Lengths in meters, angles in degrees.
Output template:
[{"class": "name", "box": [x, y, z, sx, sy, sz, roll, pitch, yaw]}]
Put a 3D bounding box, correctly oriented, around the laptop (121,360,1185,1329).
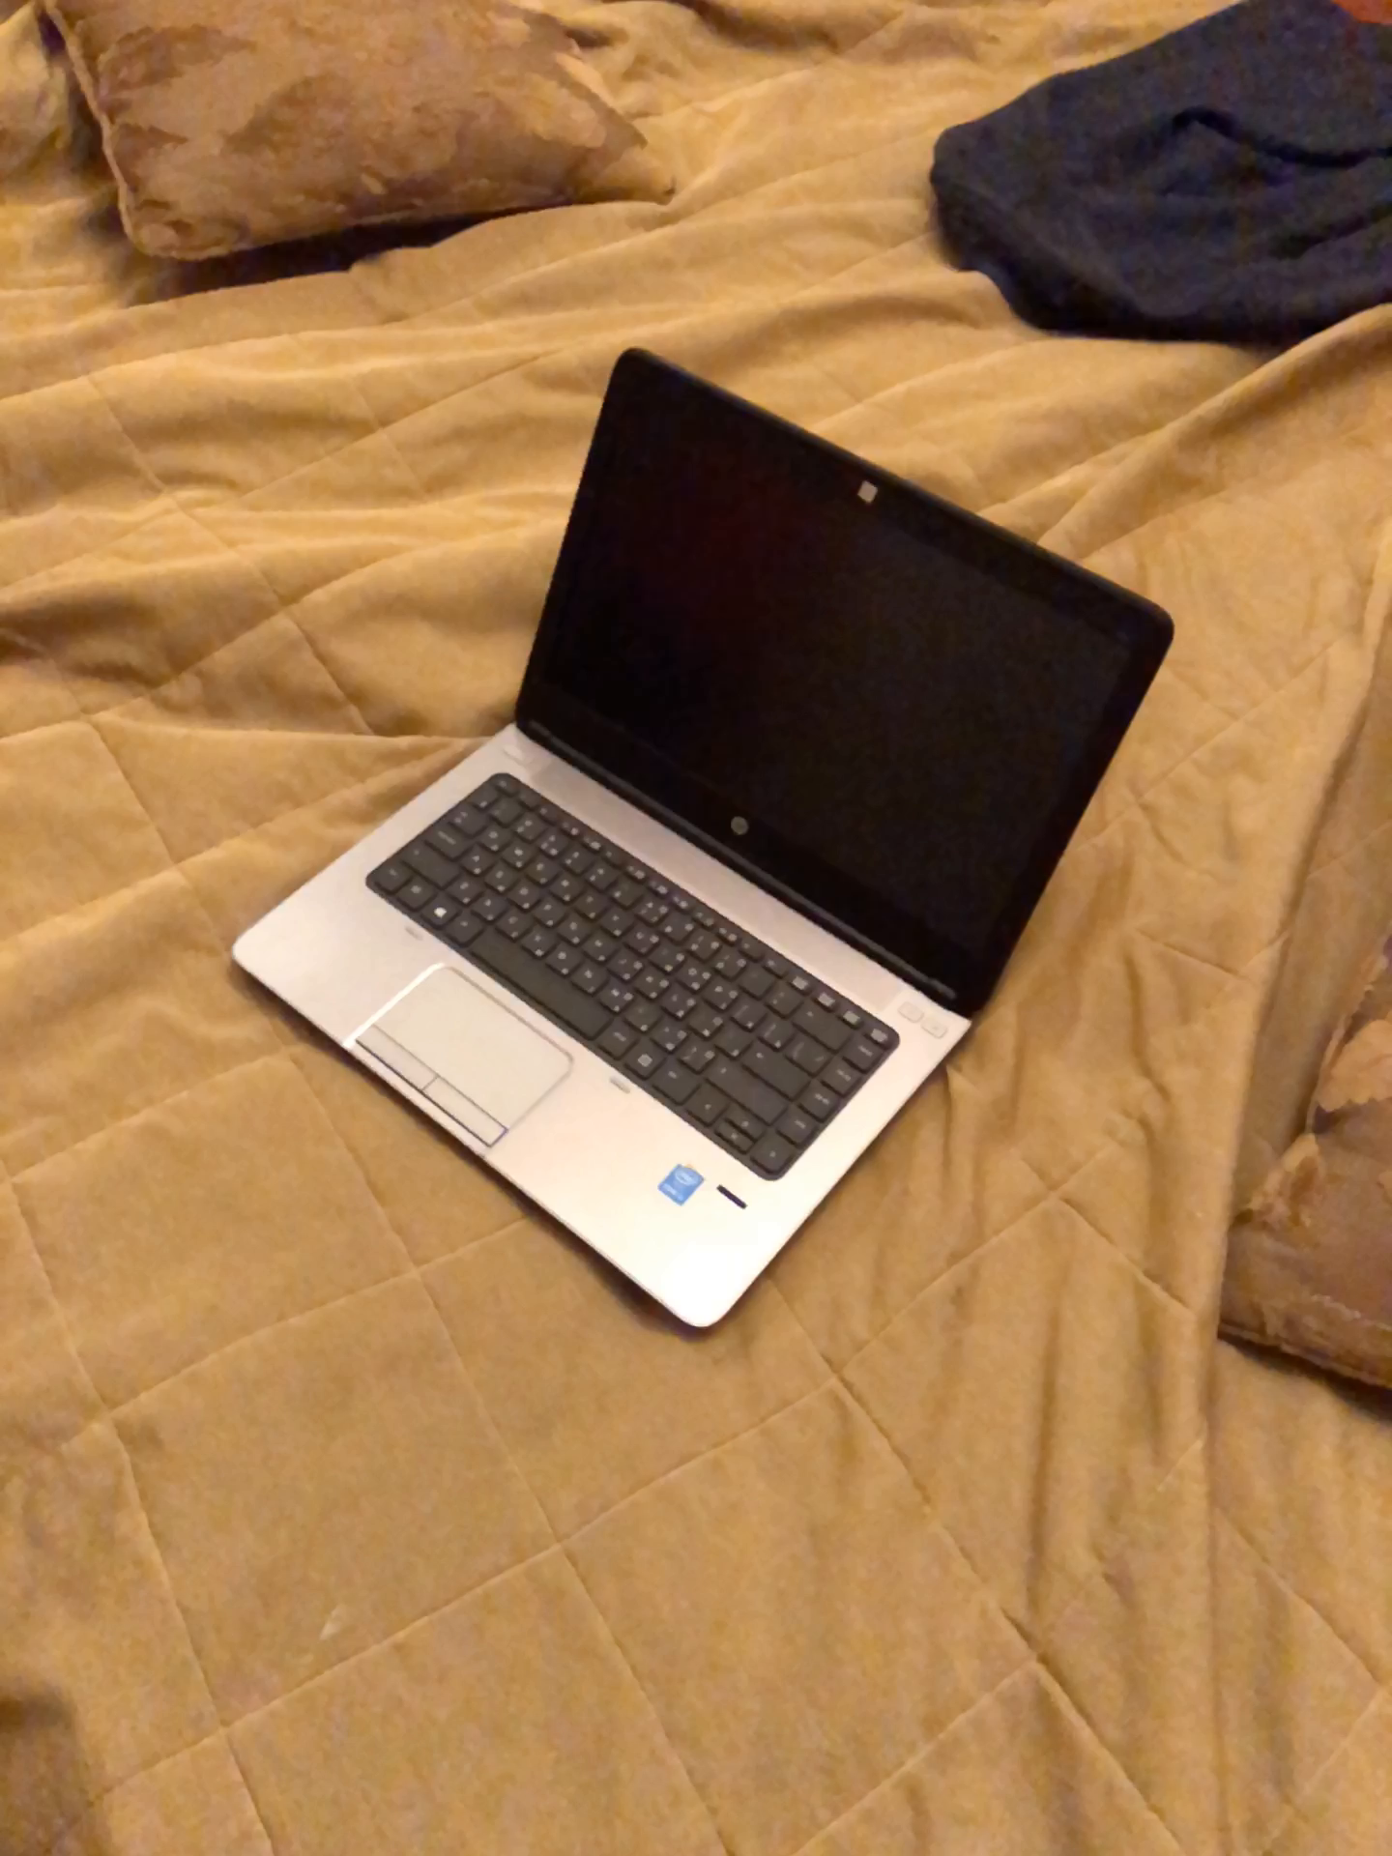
[{"class": "laptop", "box": [-0.015, -0.062, 0.760, 0.332, 0.189, 0.340, 33, 61, 22]}]
